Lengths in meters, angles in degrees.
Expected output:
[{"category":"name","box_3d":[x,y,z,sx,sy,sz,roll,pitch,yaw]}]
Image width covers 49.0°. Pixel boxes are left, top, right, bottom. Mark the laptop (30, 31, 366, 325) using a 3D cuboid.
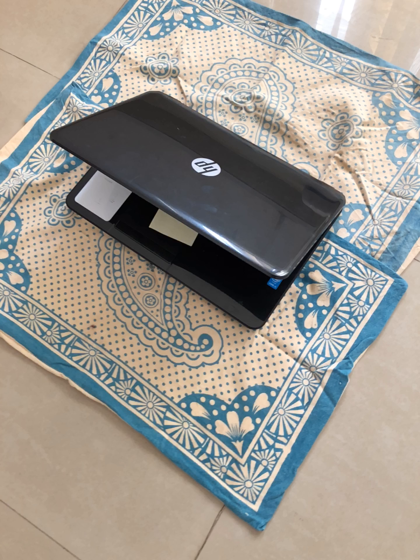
[{"category":"laptop","box_3d":[-0.016,-0.147,0.656,0.363,0.151,0.237,33,76,15]}]
